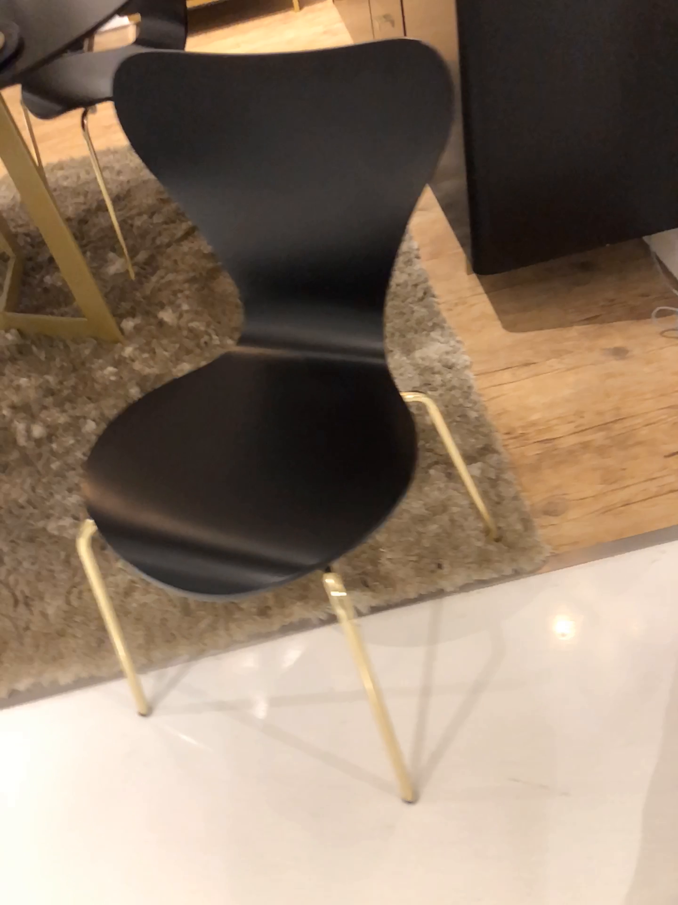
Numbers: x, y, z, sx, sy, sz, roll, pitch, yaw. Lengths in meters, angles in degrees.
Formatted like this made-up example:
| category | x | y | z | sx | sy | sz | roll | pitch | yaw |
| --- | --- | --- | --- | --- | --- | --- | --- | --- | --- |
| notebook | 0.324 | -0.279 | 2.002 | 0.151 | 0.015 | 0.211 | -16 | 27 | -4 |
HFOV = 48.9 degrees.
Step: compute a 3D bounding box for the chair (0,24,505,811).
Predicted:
| category | x | y | z | sx | sy | sz | roll | pitch | yaw |
| --- | --- | --- | --- | --- | --- | --- | --- | --- | --- |
| chair | -0.103 | -0.009 | 0.925 | 0.501 | 0.755 | 0.503 | 9 | 51 | 21 |
